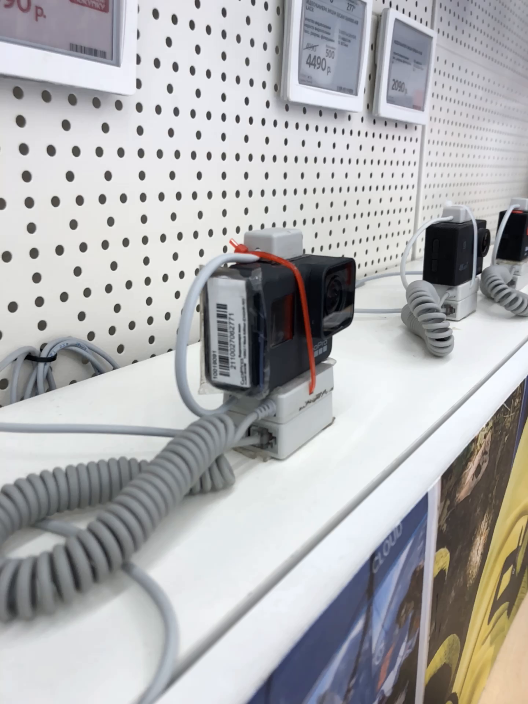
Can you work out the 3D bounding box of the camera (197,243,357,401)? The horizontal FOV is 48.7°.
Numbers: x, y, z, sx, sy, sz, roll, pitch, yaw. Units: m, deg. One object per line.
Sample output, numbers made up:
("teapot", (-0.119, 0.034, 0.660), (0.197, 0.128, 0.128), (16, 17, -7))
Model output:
("camera", (0.007, -0.015, 0.221), (0.029, 0.044, 0.067), (10, 19, 30))
